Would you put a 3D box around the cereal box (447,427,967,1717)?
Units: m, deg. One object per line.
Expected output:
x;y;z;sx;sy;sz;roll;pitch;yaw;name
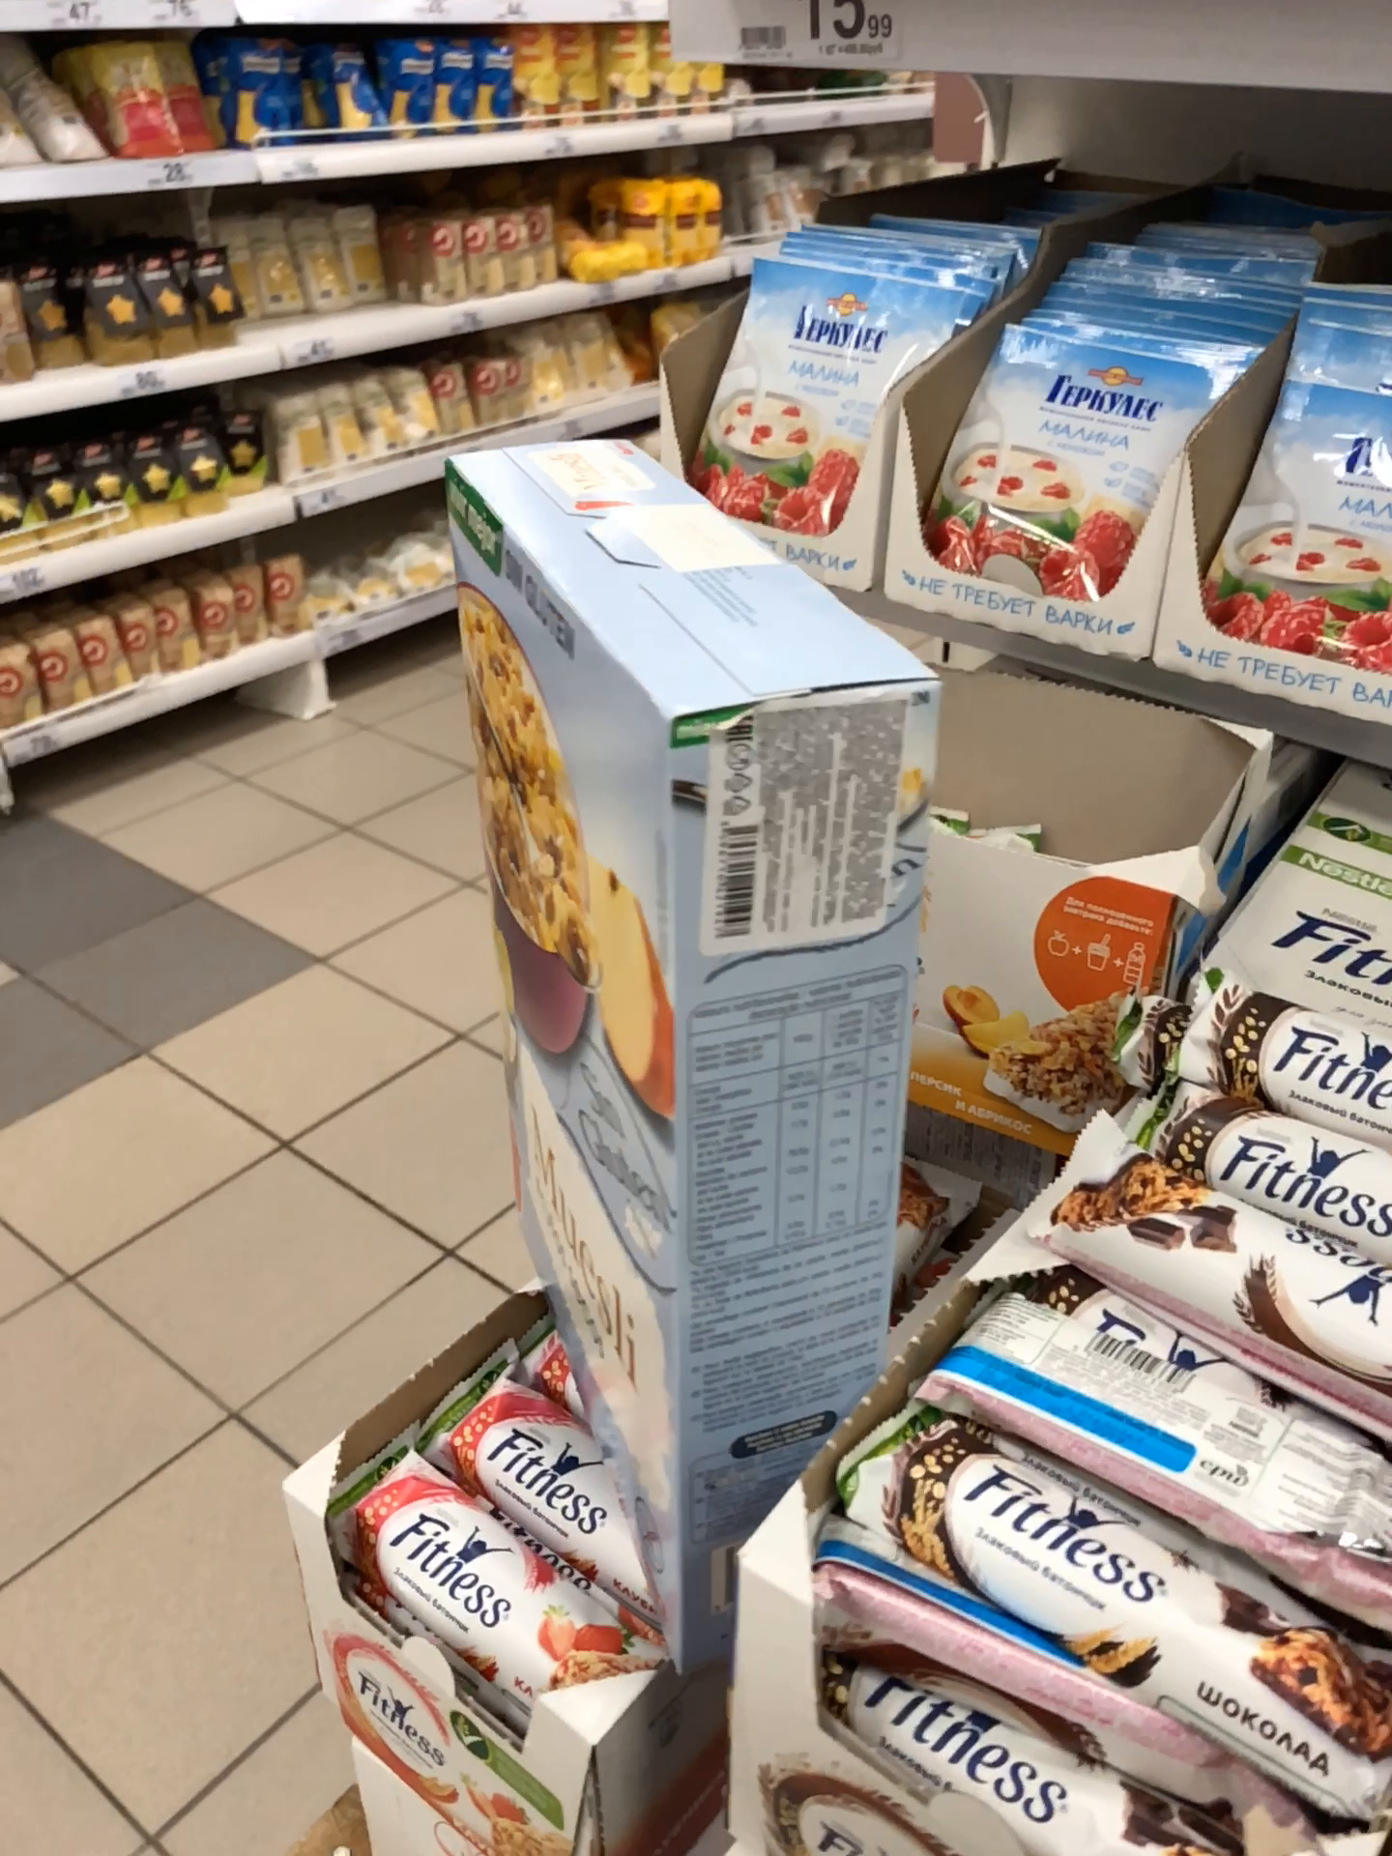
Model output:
-0.011;0.033;0.426;0.060;0.288;0.201;-9;32;-16;cereal box
